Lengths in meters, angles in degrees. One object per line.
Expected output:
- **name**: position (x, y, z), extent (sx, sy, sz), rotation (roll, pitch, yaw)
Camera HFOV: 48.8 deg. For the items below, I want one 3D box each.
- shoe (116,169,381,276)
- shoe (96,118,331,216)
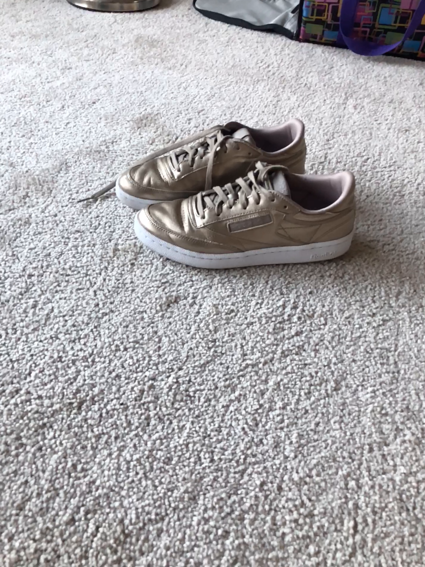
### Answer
- **shoe**: position (0.034, -0.073, 0.550), extent (0.280, 0.070, 0.110), rotation (-1, 44, -7)
- **shoe**: position (-0.005, -0.156, 0.612), extent (0.280, 0.070, 0.110), rotation (-4, 45, -10)
